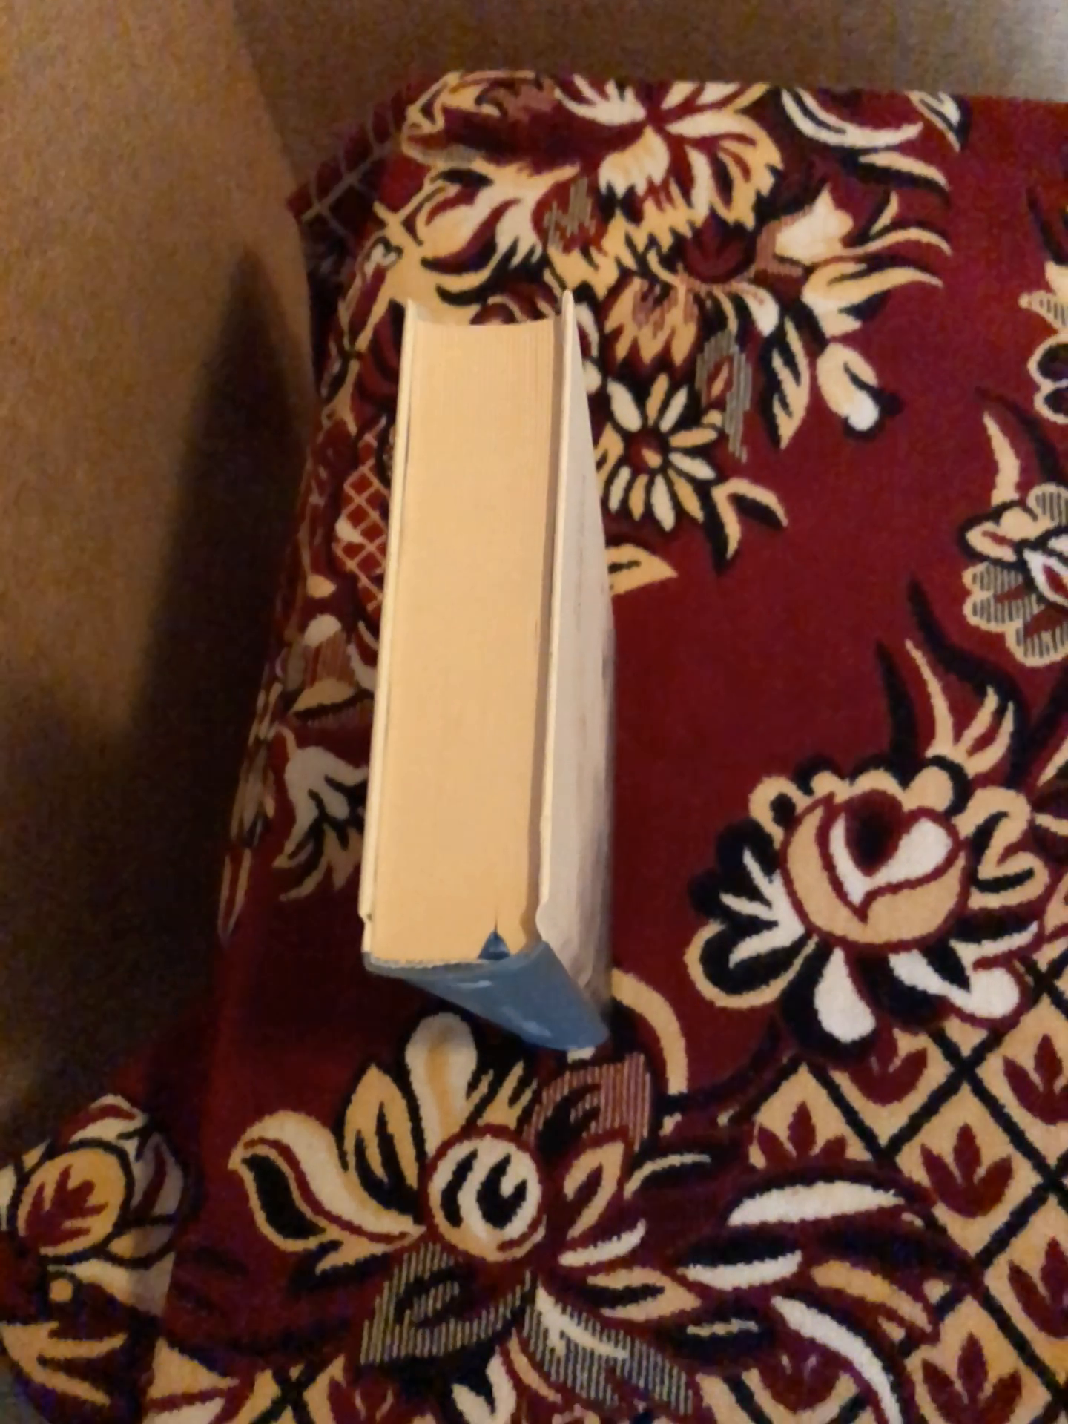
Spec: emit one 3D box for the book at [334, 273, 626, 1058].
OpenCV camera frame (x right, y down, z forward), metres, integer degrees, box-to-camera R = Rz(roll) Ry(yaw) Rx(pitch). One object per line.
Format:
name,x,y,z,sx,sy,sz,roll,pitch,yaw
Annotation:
book,0.000,0.011,0.331,0.040,0.210,0.150,0,70,7
